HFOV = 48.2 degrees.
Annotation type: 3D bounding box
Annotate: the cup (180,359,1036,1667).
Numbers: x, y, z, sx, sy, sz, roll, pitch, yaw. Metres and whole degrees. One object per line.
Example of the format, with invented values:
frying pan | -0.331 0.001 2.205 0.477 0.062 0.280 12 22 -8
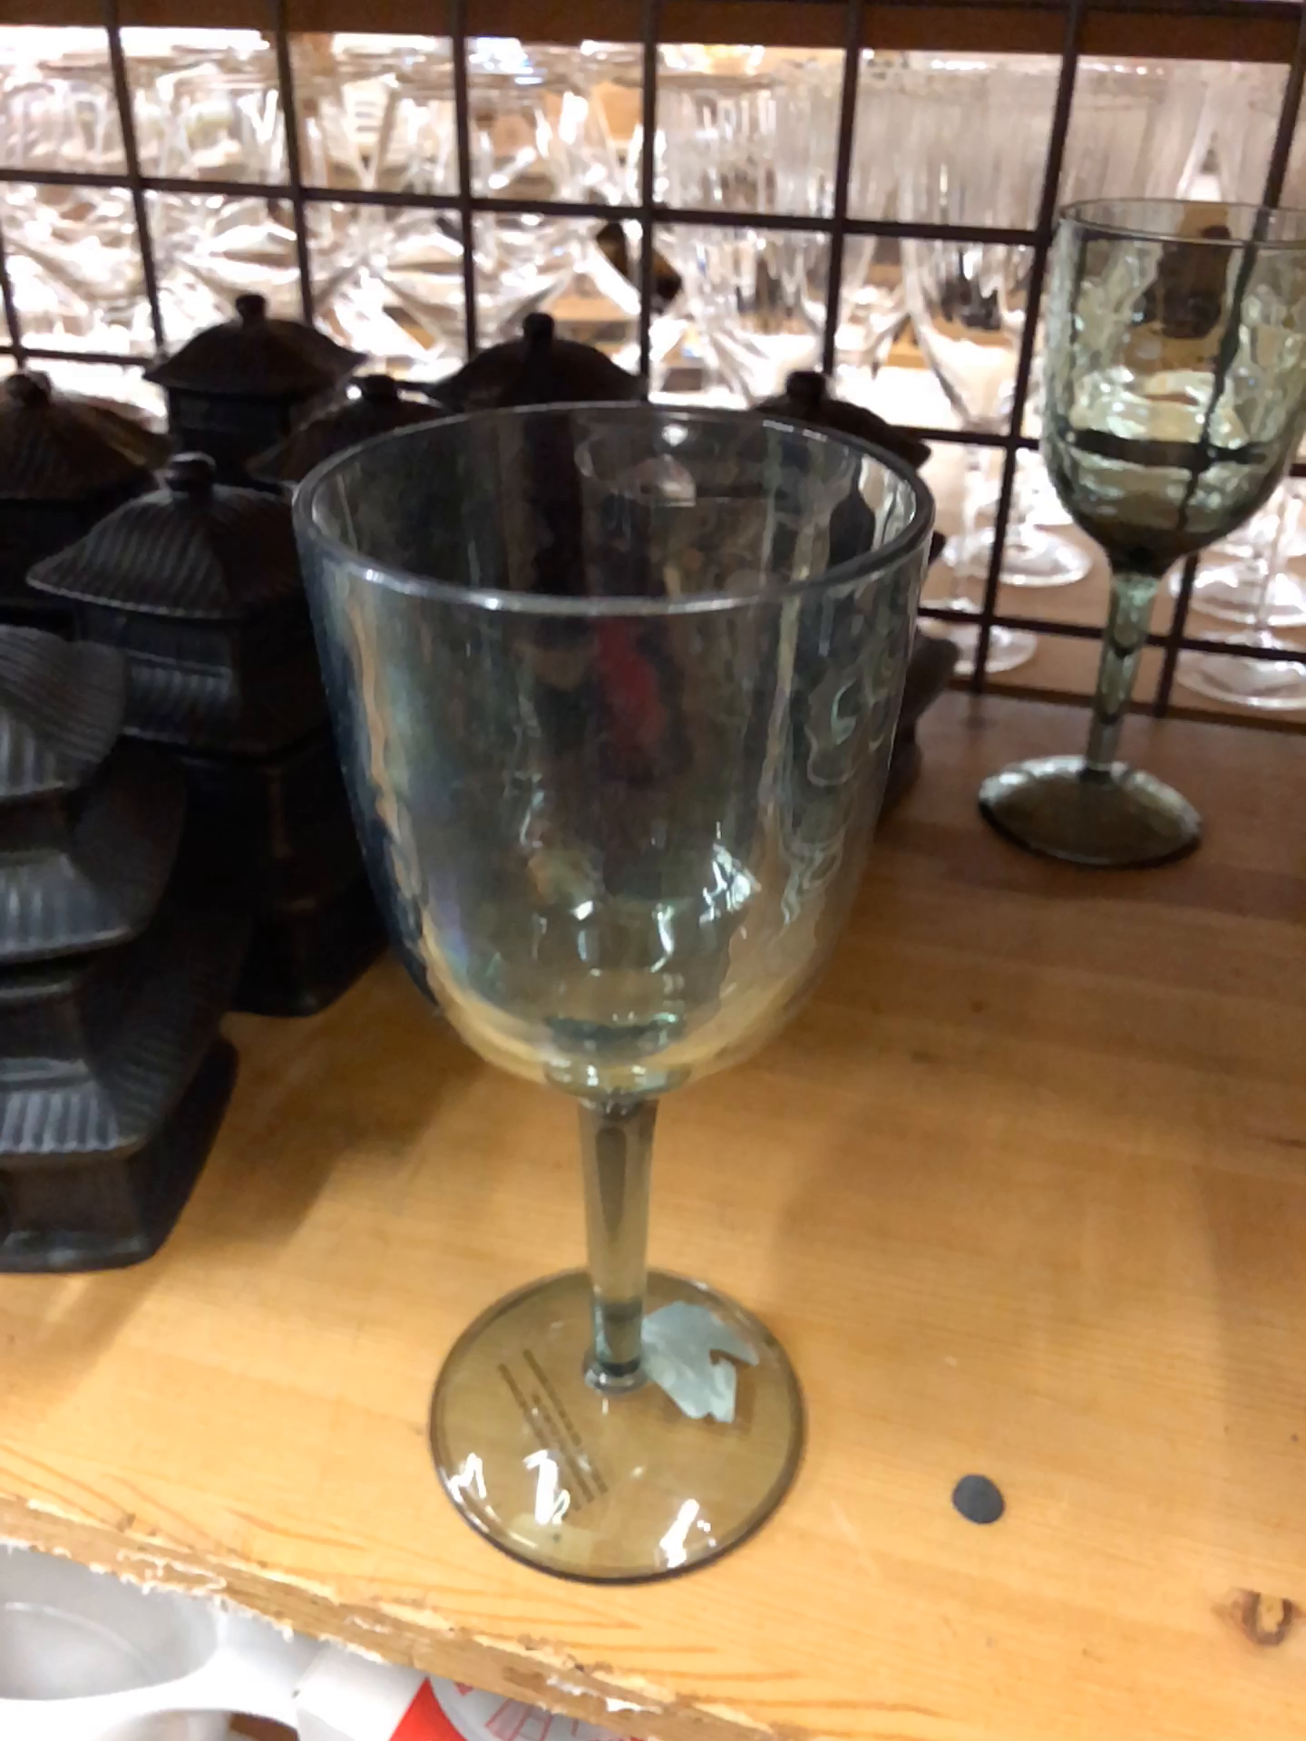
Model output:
cup | -0.003 0.026 0.270 0.091 0.204 0.094 1 32 0
